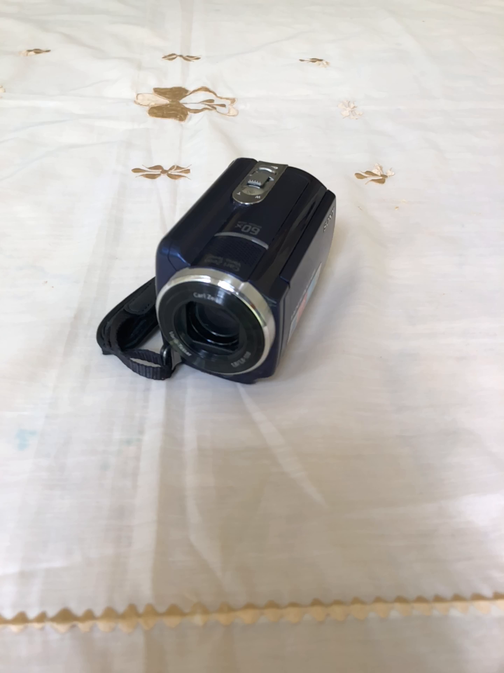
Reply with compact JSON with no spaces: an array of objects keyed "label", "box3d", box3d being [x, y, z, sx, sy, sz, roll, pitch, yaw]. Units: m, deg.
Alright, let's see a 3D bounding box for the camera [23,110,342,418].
[{"label":"camera","box3d":[-0.021,-0.041,0.255,0.090,0.070,0.120,15,43,14]}]
